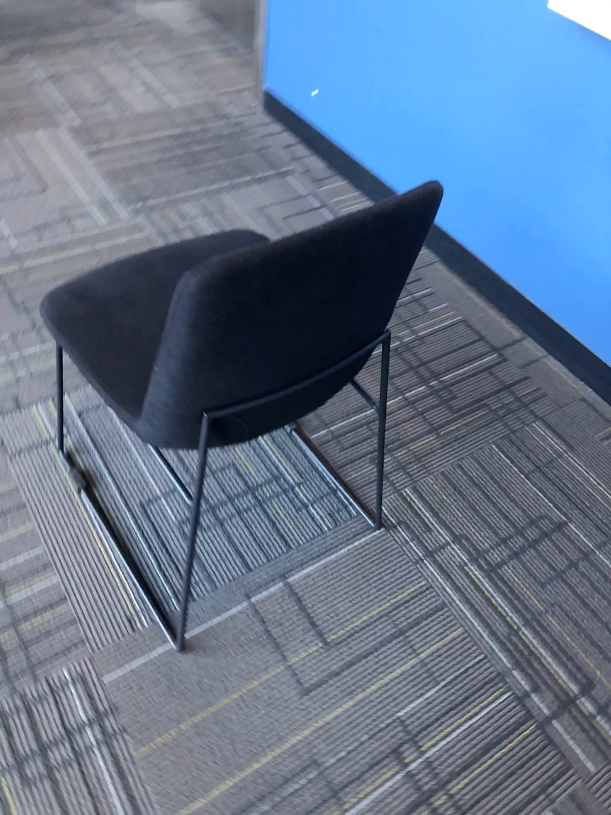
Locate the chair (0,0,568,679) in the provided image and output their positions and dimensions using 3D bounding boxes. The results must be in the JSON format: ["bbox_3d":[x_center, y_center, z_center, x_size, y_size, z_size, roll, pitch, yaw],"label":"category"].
[{"bbox_3d":[-0.131,-0.113,1.040,0.561,0.767,0.552,-26,56,-26],"label":"chair"}]
